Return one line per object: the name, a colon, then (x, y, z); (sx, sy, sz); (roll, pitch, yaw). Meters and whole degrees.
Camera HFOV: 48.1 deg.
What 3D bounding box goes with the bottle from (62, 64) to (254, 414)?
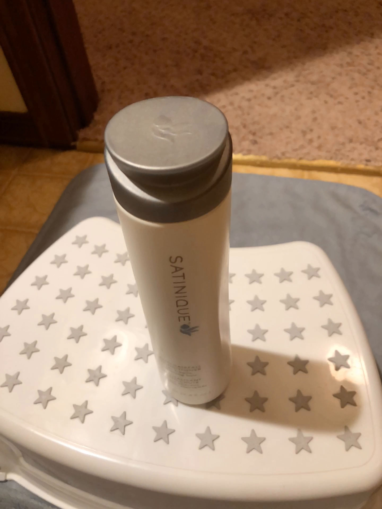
bottle: (-0.002, 0.017, 0.225); (0.050, 0.210, 0.050); (-3, 51, 3)
